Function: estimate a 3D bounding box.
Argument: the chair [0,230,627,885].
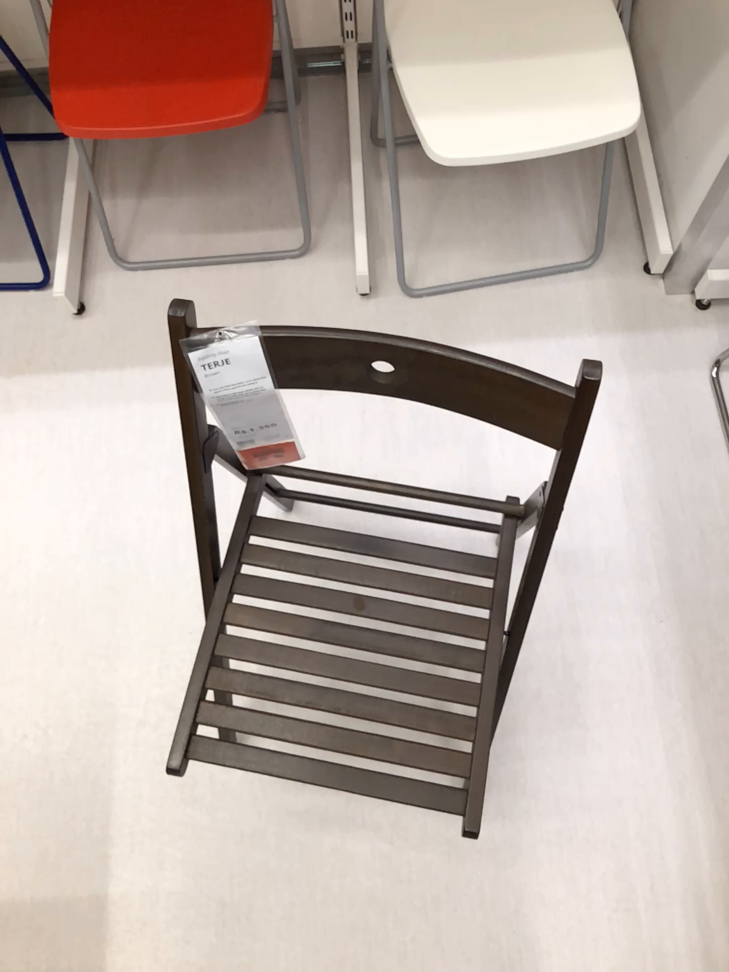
[{"bbox_3d":[-0.015,0.146,1.052,0.460,0.778,0.501,9,71,6],"label":"chair"}]
